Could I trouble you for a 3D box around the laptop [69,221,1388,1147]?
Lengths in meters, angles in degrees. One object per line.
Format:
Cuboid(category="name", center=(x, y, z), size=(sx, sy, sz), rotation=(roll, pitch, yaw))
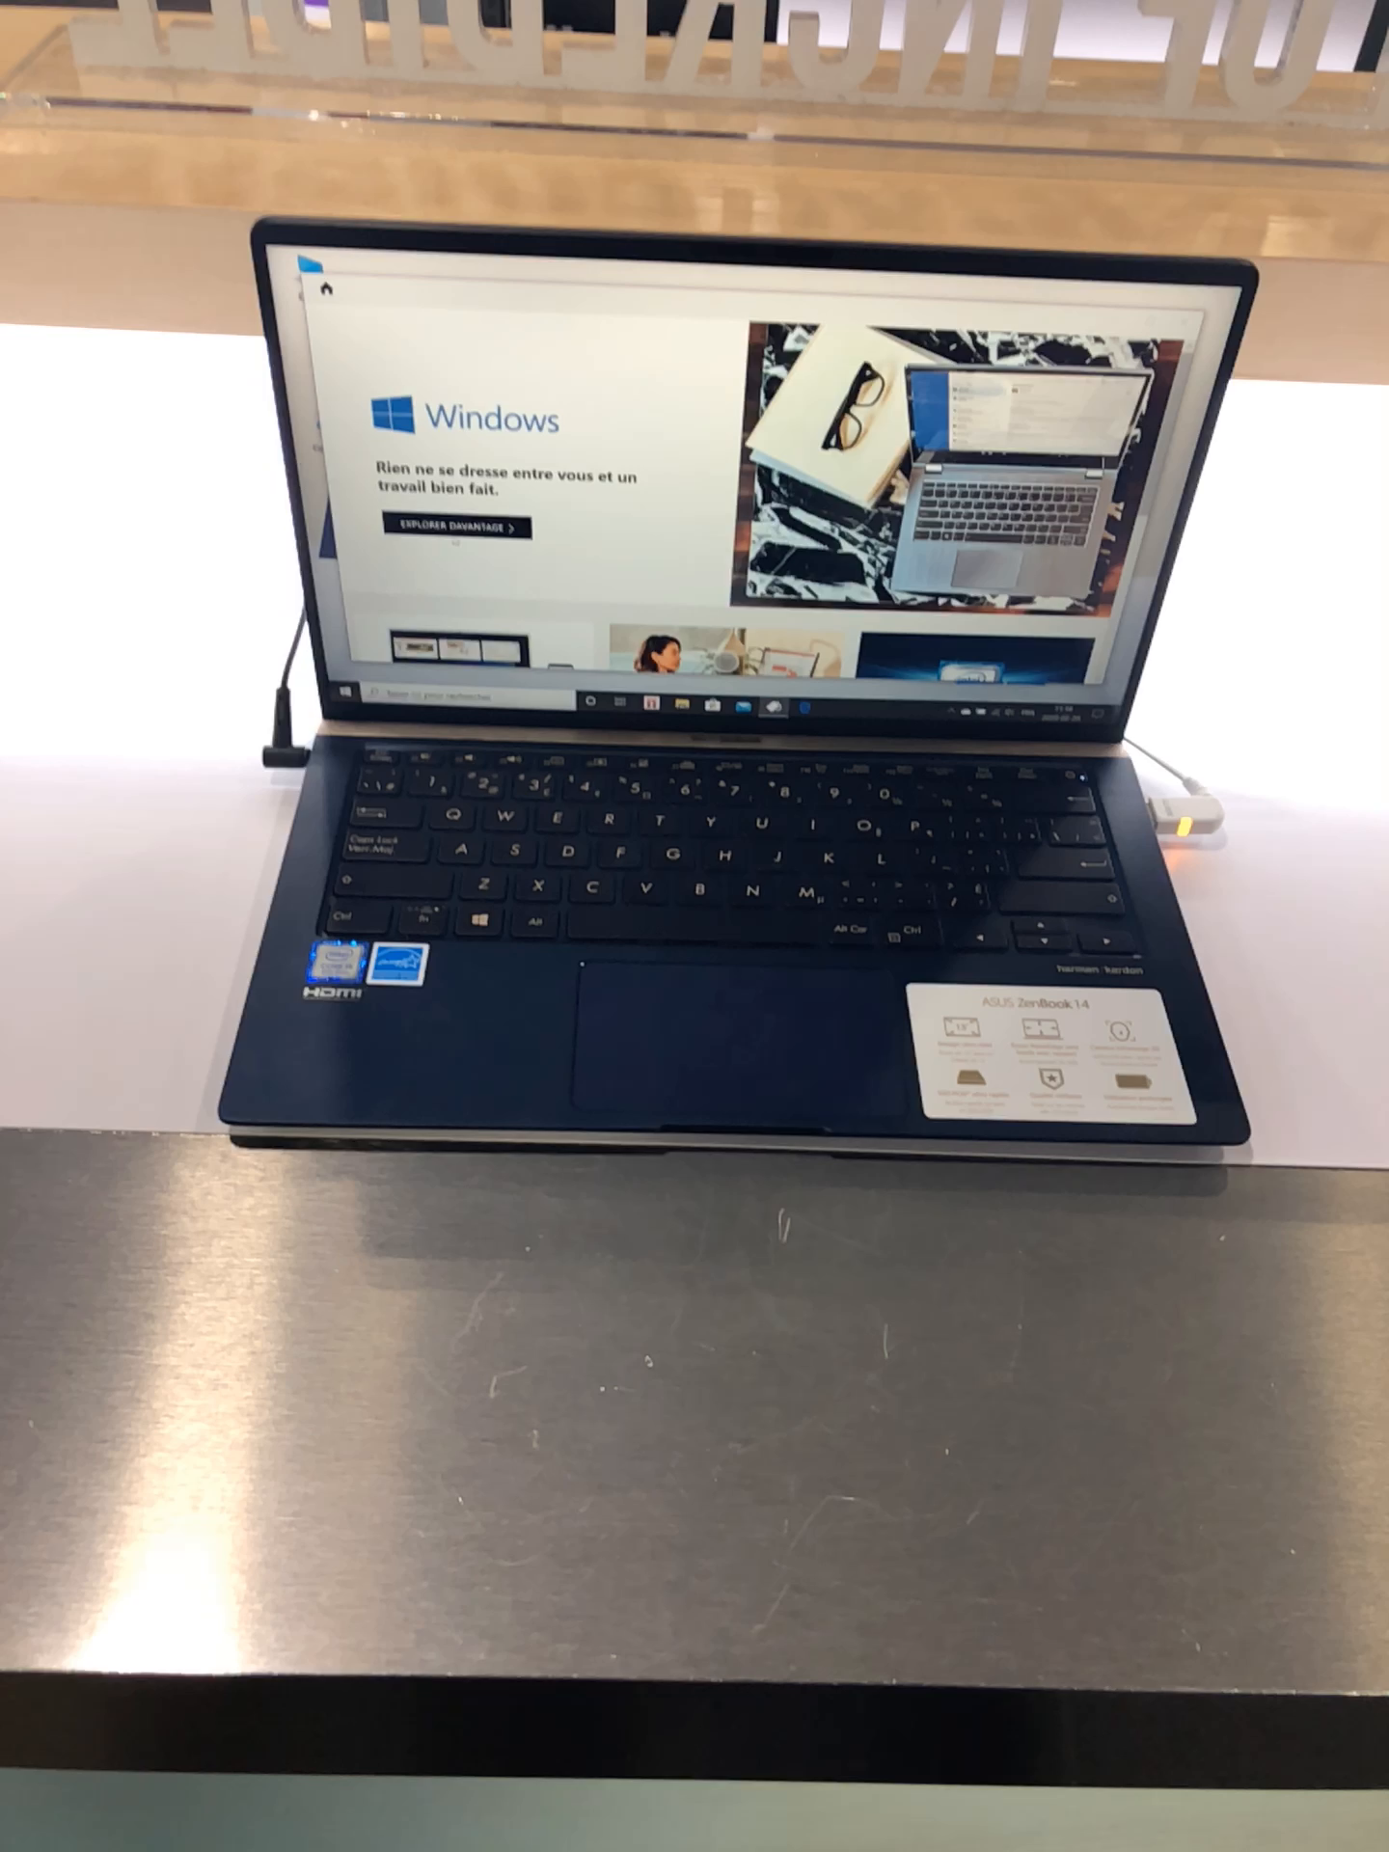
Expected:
Cuboid(category="laptop", center=(0.018, -0.070, 0.449), size=(0.301, 0.182, 0.192), rotation=(1, 44, -3))
